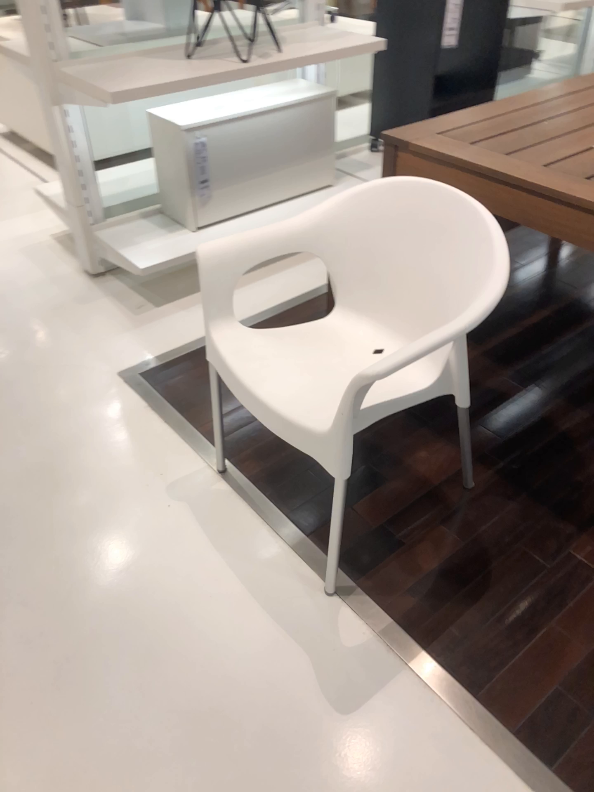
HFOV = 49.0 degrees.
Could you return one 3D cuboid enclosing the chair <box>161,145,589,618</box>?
[{"bbox_3d":[0.138,-0.069,1.447,0.562,0.705,0.583,-26,44,-28],"label":"chair"}]
